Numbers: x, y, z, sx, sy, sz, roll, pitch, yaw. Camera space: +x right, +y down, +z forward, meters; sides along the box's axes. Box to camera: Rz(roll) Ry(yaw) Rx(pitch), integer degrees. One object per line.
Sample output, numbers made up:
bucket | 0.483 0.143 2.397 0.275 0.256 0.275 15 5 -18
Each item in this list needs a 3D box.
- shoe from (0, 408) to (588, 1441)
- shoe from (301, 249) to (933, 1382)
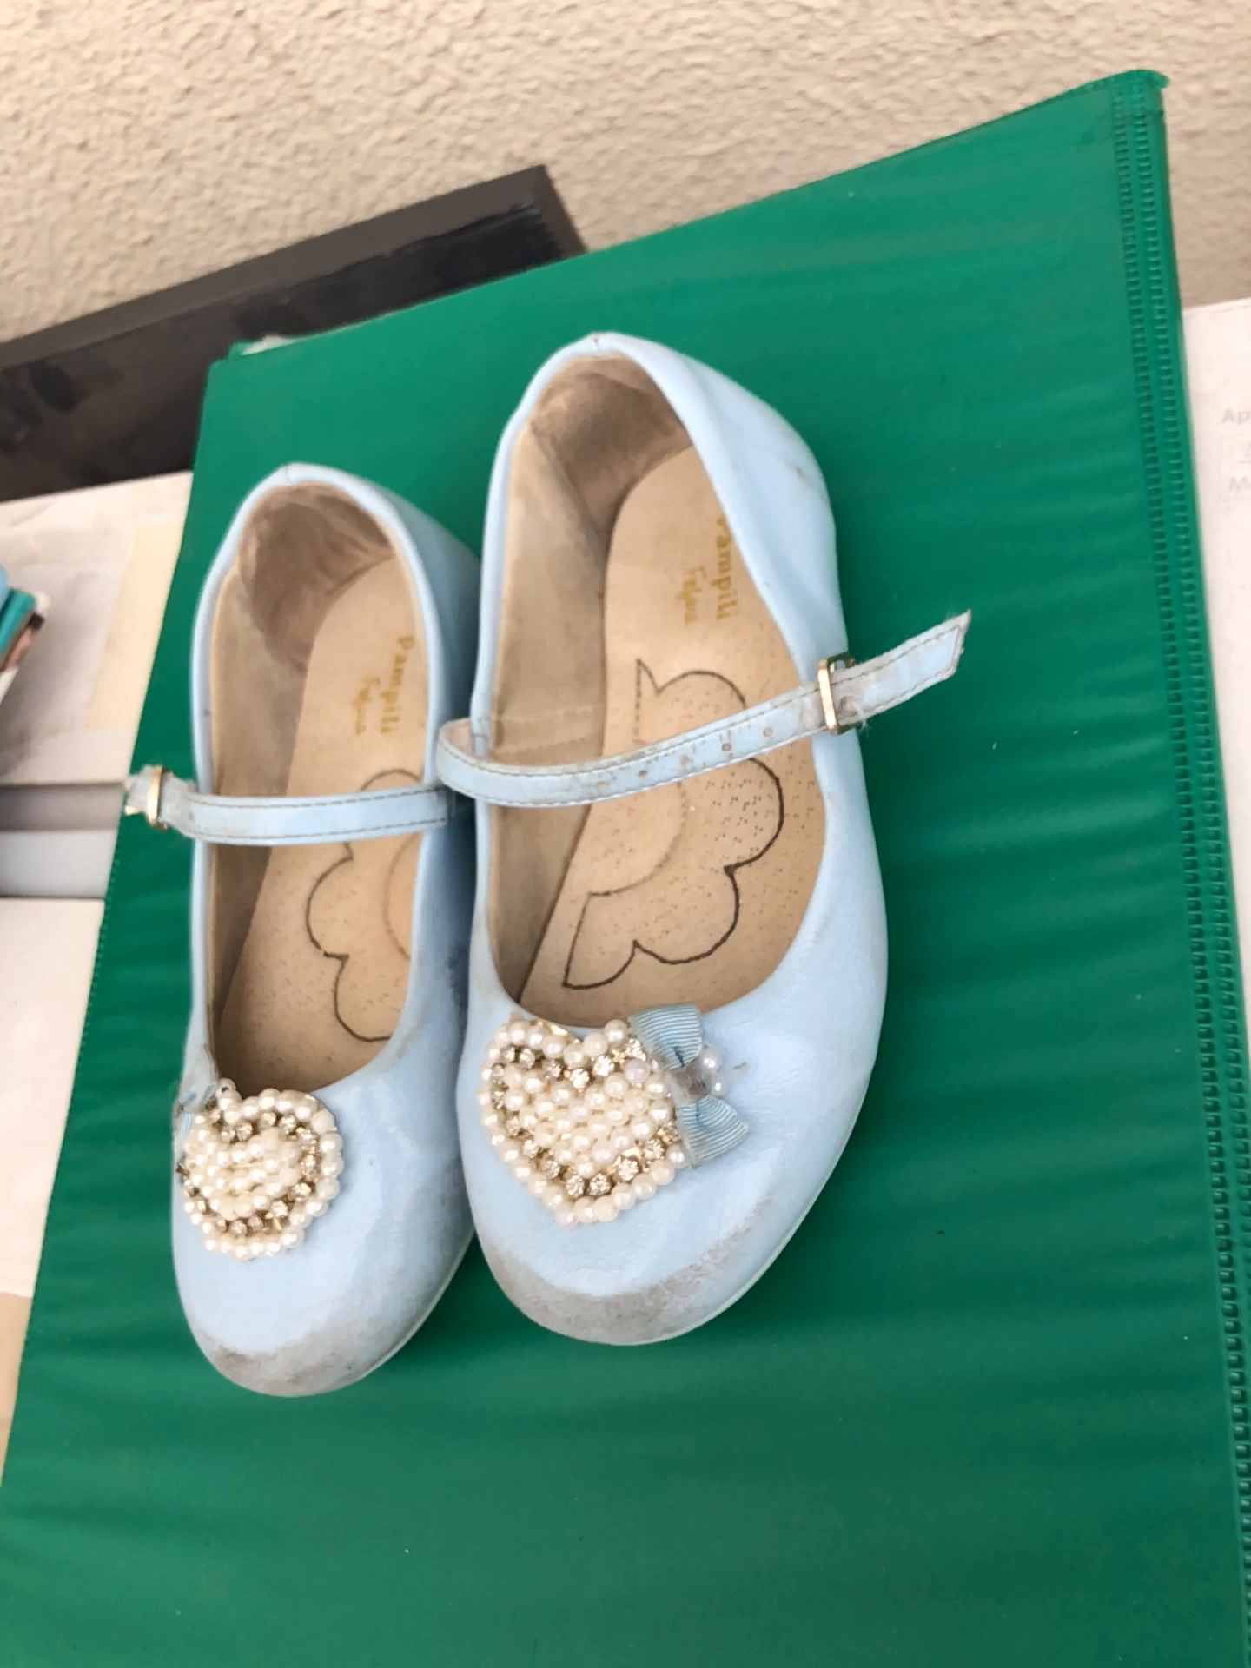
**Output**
shoe | -0.060 0.016 0.261 0.086 0.050 0.170 -6 69 22
shoe | 0.003 -0.002 0.235 0.080 0.050 0.170 -6 69 22
